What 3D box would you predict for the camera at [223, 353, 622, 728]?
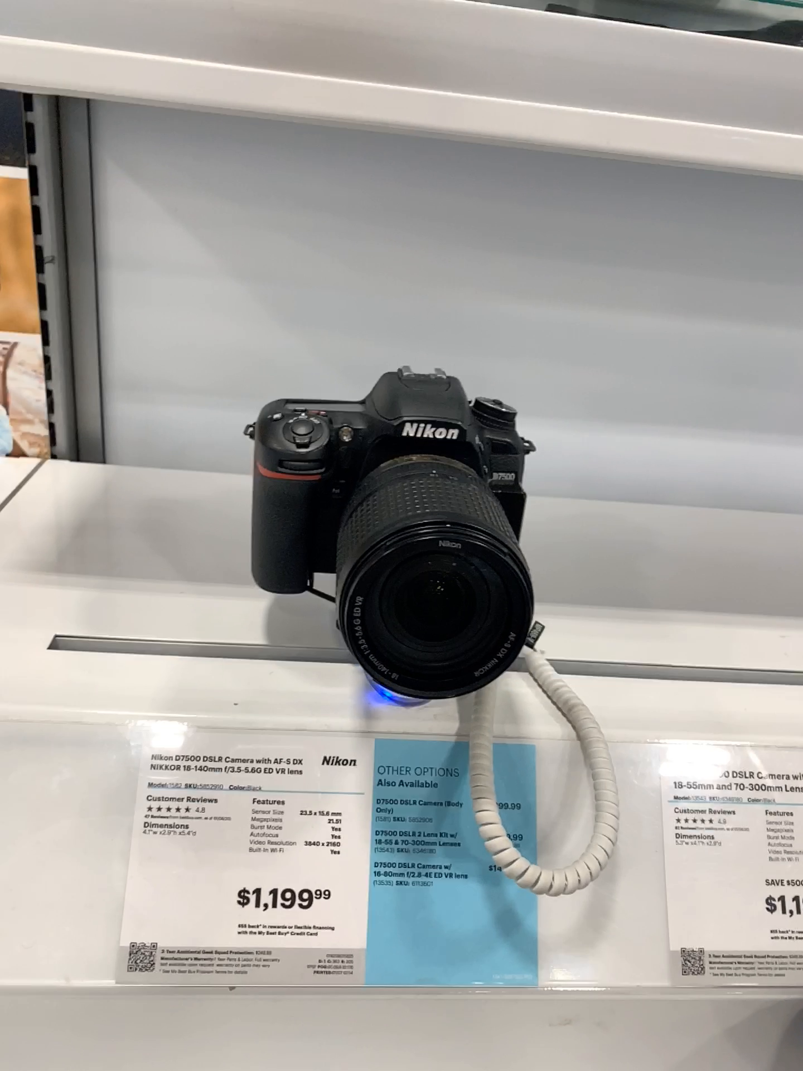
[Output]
[{"bbox_3d":[-0.005,-0.010,0.366,0.130,0.107,0.173,2,20,-8],"label":"camera"}]
